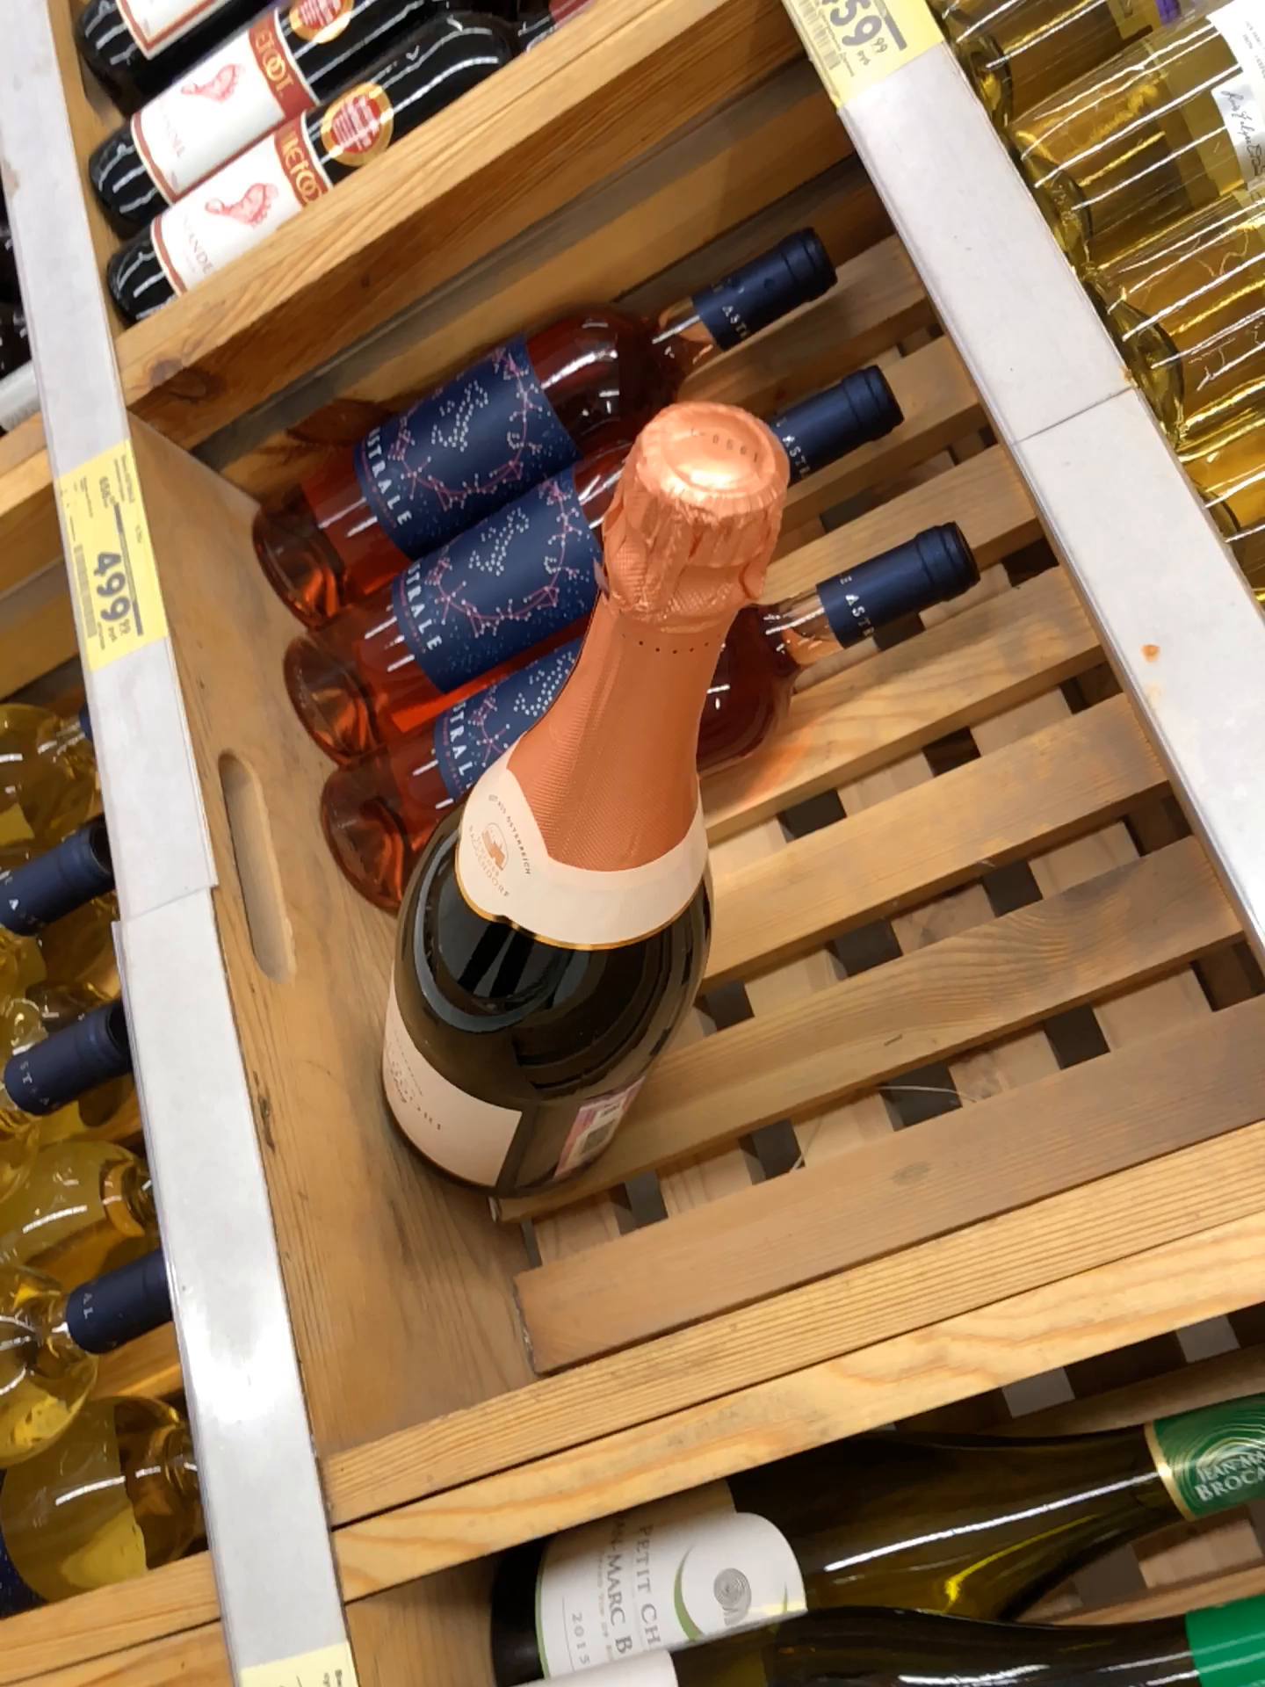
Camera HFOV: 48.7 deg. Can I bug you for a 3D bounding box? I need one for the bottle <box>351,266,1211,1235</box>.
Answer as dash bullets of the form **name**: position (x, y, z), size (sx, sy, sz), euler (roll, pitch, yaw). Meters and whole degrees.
- **bottle**: position (-0.001, 0.009, 0.434), size (0.110, 0.359, 0.120), euler (7, 61, -14)
